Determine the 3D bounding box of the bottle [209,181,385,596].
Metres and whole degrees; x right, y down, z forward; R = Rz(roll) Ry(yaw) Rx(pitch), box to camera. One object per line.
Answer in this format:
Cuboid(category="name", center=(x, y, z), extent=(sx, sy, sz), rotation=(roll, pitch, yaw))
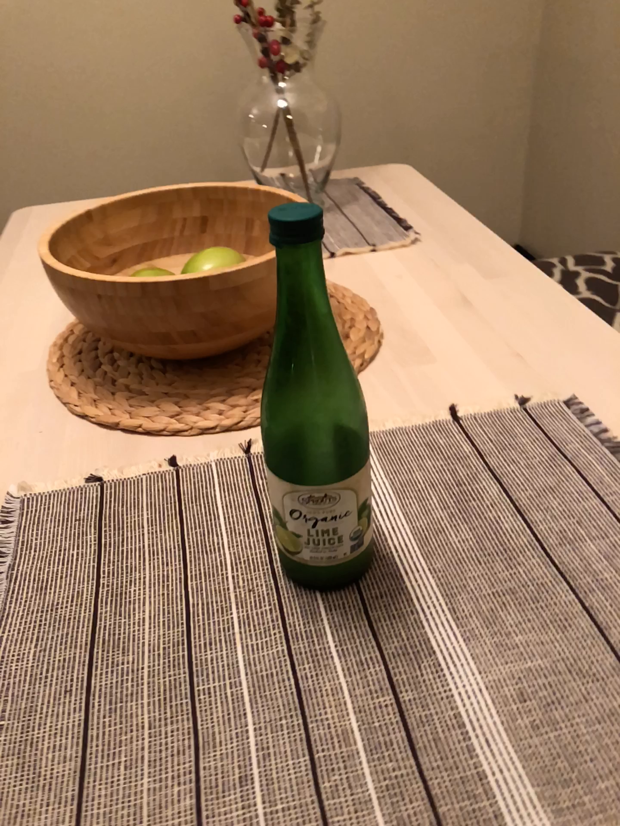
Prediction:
Cuboid(category="bottle", center=(0.001, -0.005, 0.407), extent=(0.080, 0.236, 0.081), rotation=(-3, 34, 2))
